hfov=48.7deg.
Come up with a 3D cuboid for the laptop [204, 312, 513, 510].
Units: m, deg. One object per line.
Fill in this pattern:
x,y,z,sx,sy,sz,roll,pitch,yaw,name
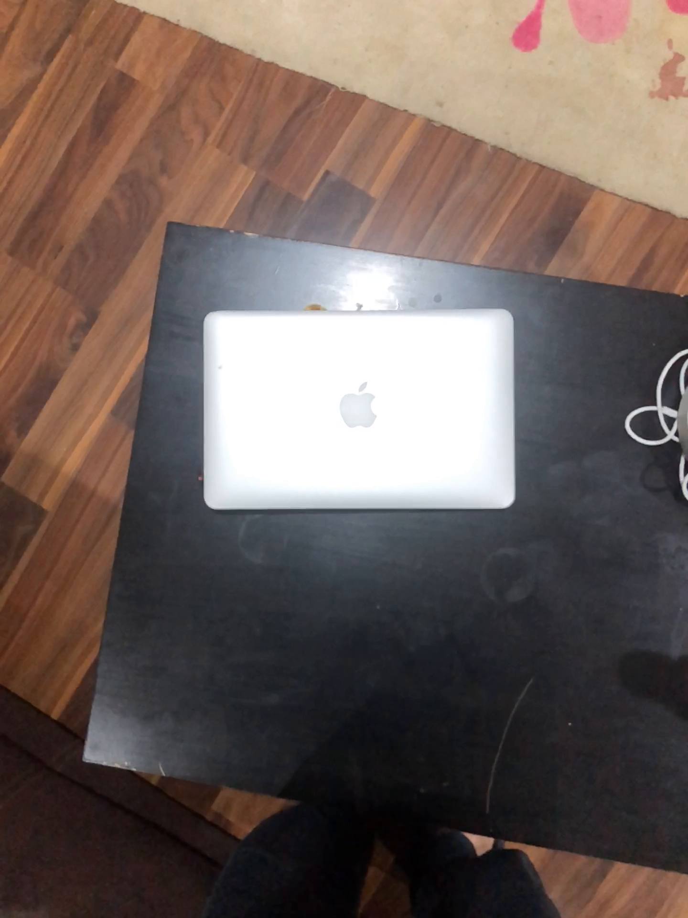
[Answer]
0.014,-0.046,0.748,0.300,0.011,0.190,0,93,0,laptop
